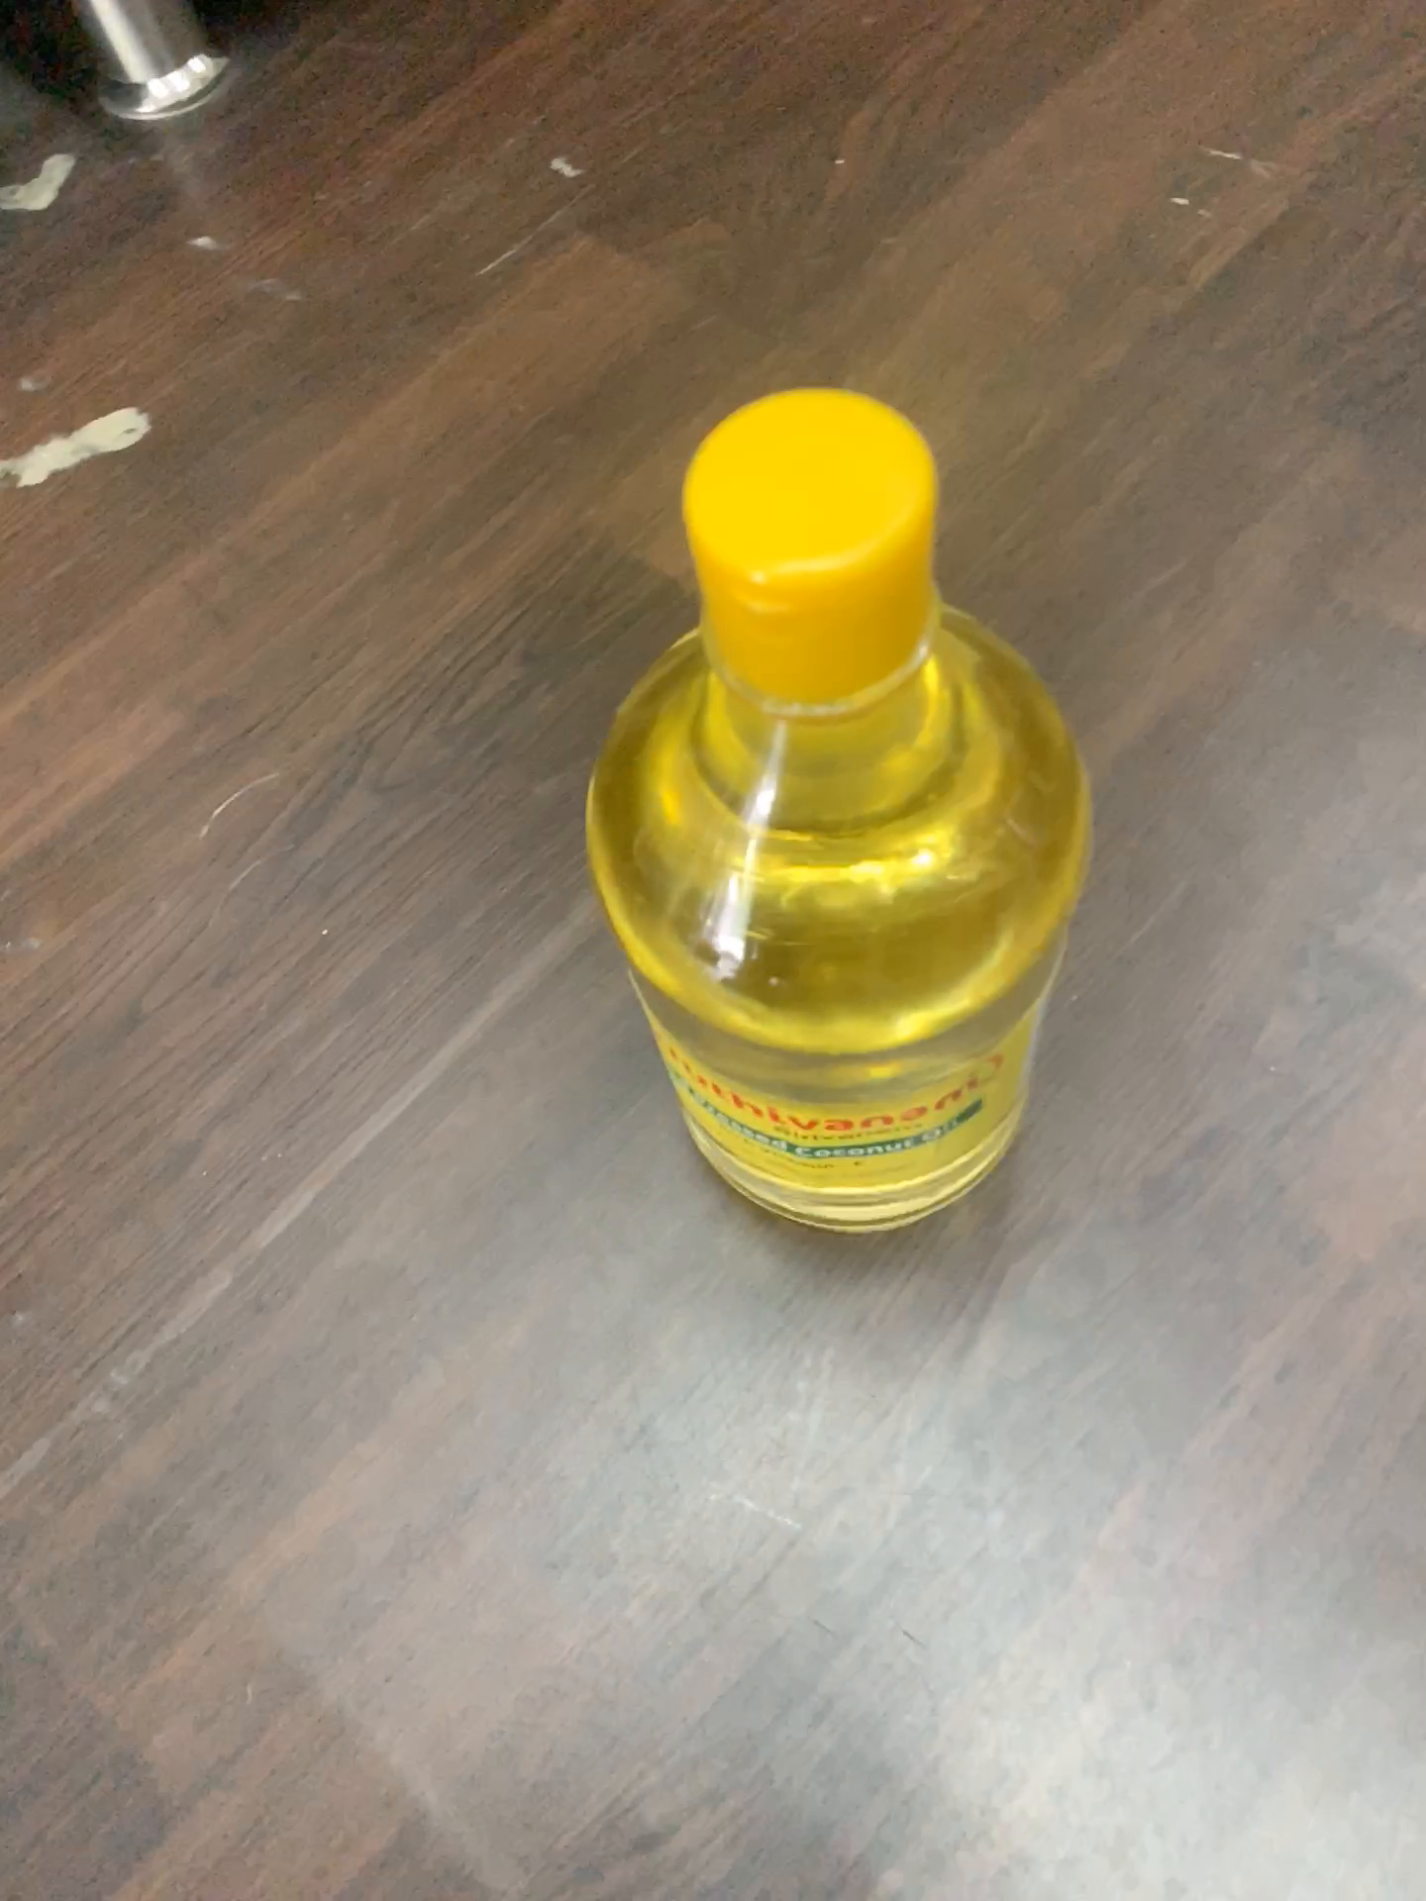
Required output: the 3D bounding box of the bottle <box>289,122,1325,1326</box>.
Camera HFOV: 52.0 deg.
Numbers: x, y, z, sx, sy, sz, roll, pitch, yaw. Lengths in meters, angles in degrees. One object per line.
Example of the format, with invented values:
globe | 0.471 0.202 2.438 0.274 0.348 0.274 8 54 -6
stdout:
bottle | 0.024 -0.013 0.262 0.090 0.210 0.090 -3 65 6
